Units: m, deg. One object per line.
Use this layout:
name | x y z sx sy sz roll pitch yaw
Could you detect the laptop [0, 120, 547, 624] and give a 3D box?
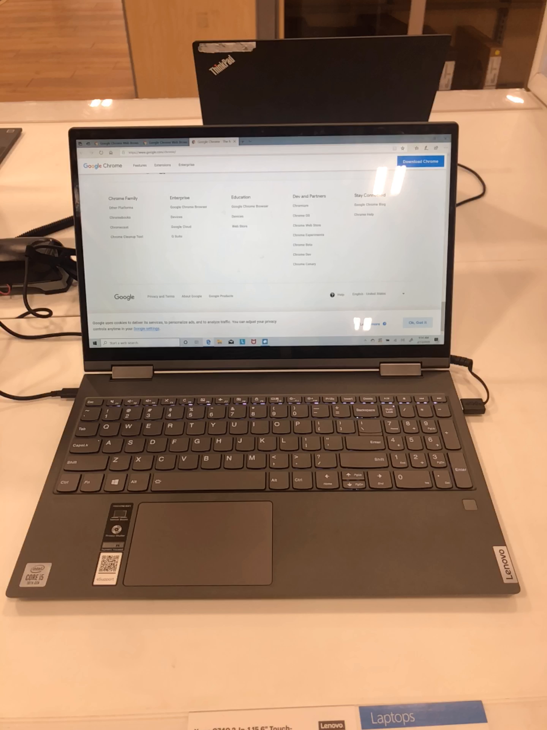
laptop | -0.013 -0.022 0.489 0.352 0.178 0.366 0 46 0
